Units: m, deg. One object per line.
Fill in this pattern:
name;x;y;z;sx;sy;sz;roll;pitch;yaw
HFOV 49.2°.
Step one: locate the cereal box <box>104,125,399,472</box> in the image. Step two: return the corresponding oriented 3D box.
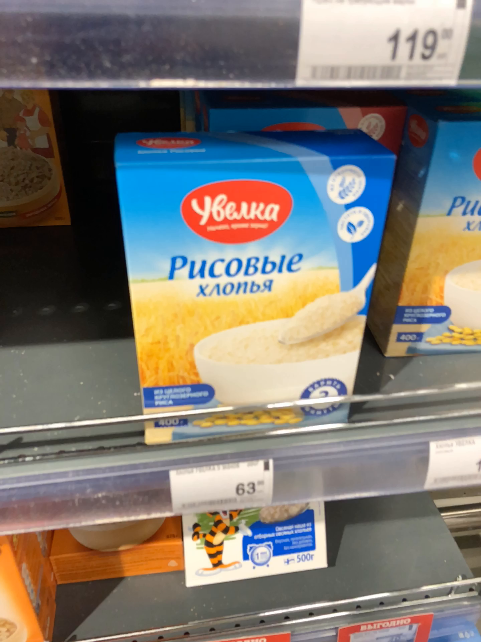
cereal box;0.000;-0.008;0.323;0.140;0.199;0.060;-5;34;-10
